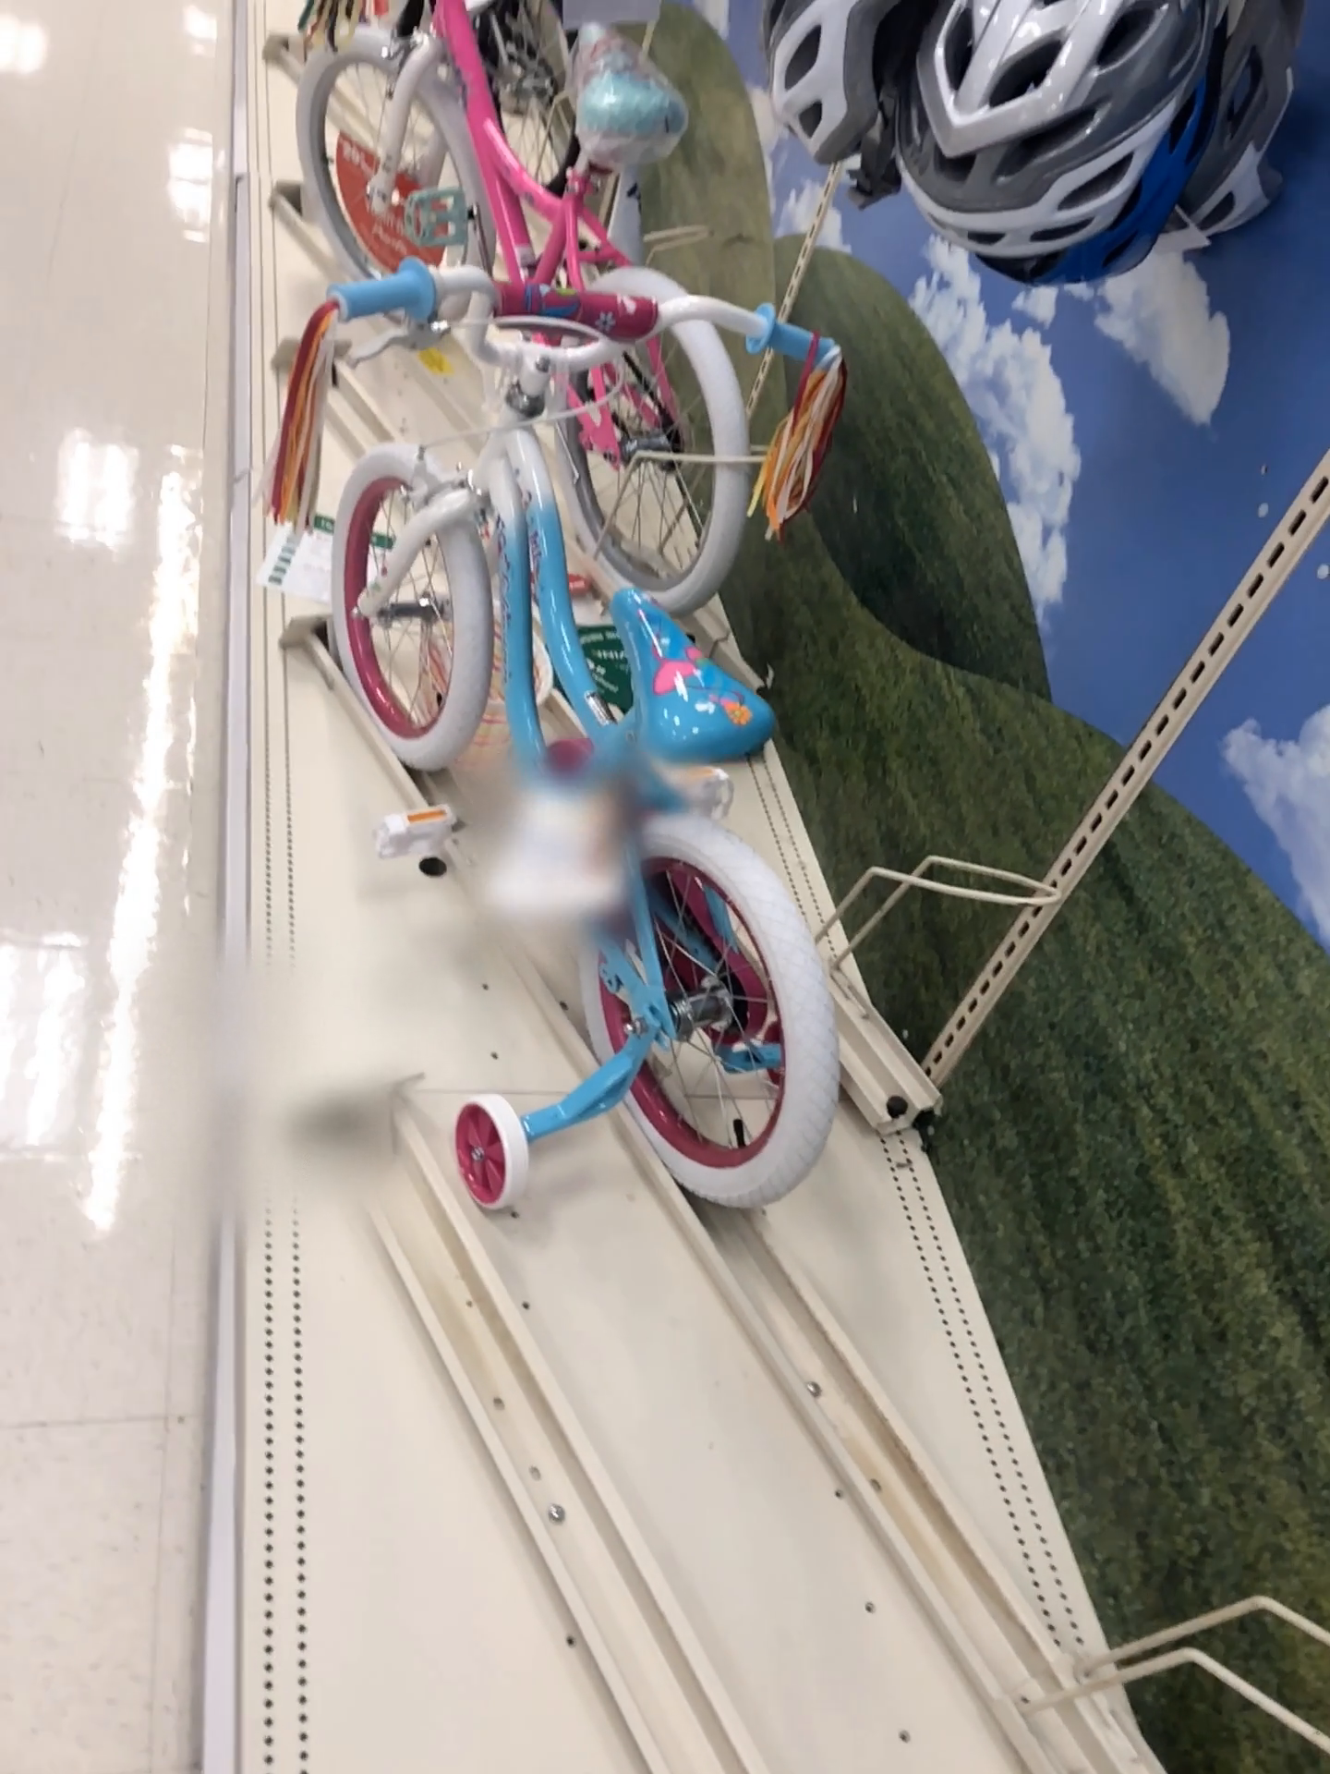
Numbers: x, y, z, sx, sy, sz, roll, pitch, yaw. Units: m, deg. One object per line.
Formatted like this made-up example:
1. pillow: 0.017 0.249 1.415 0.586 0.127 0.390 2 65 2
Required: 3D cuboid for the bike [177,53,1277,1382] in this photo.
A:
1. bike: -0.064 -0.243 1.562 0.533 0.724 1.092 -13 53 -34
